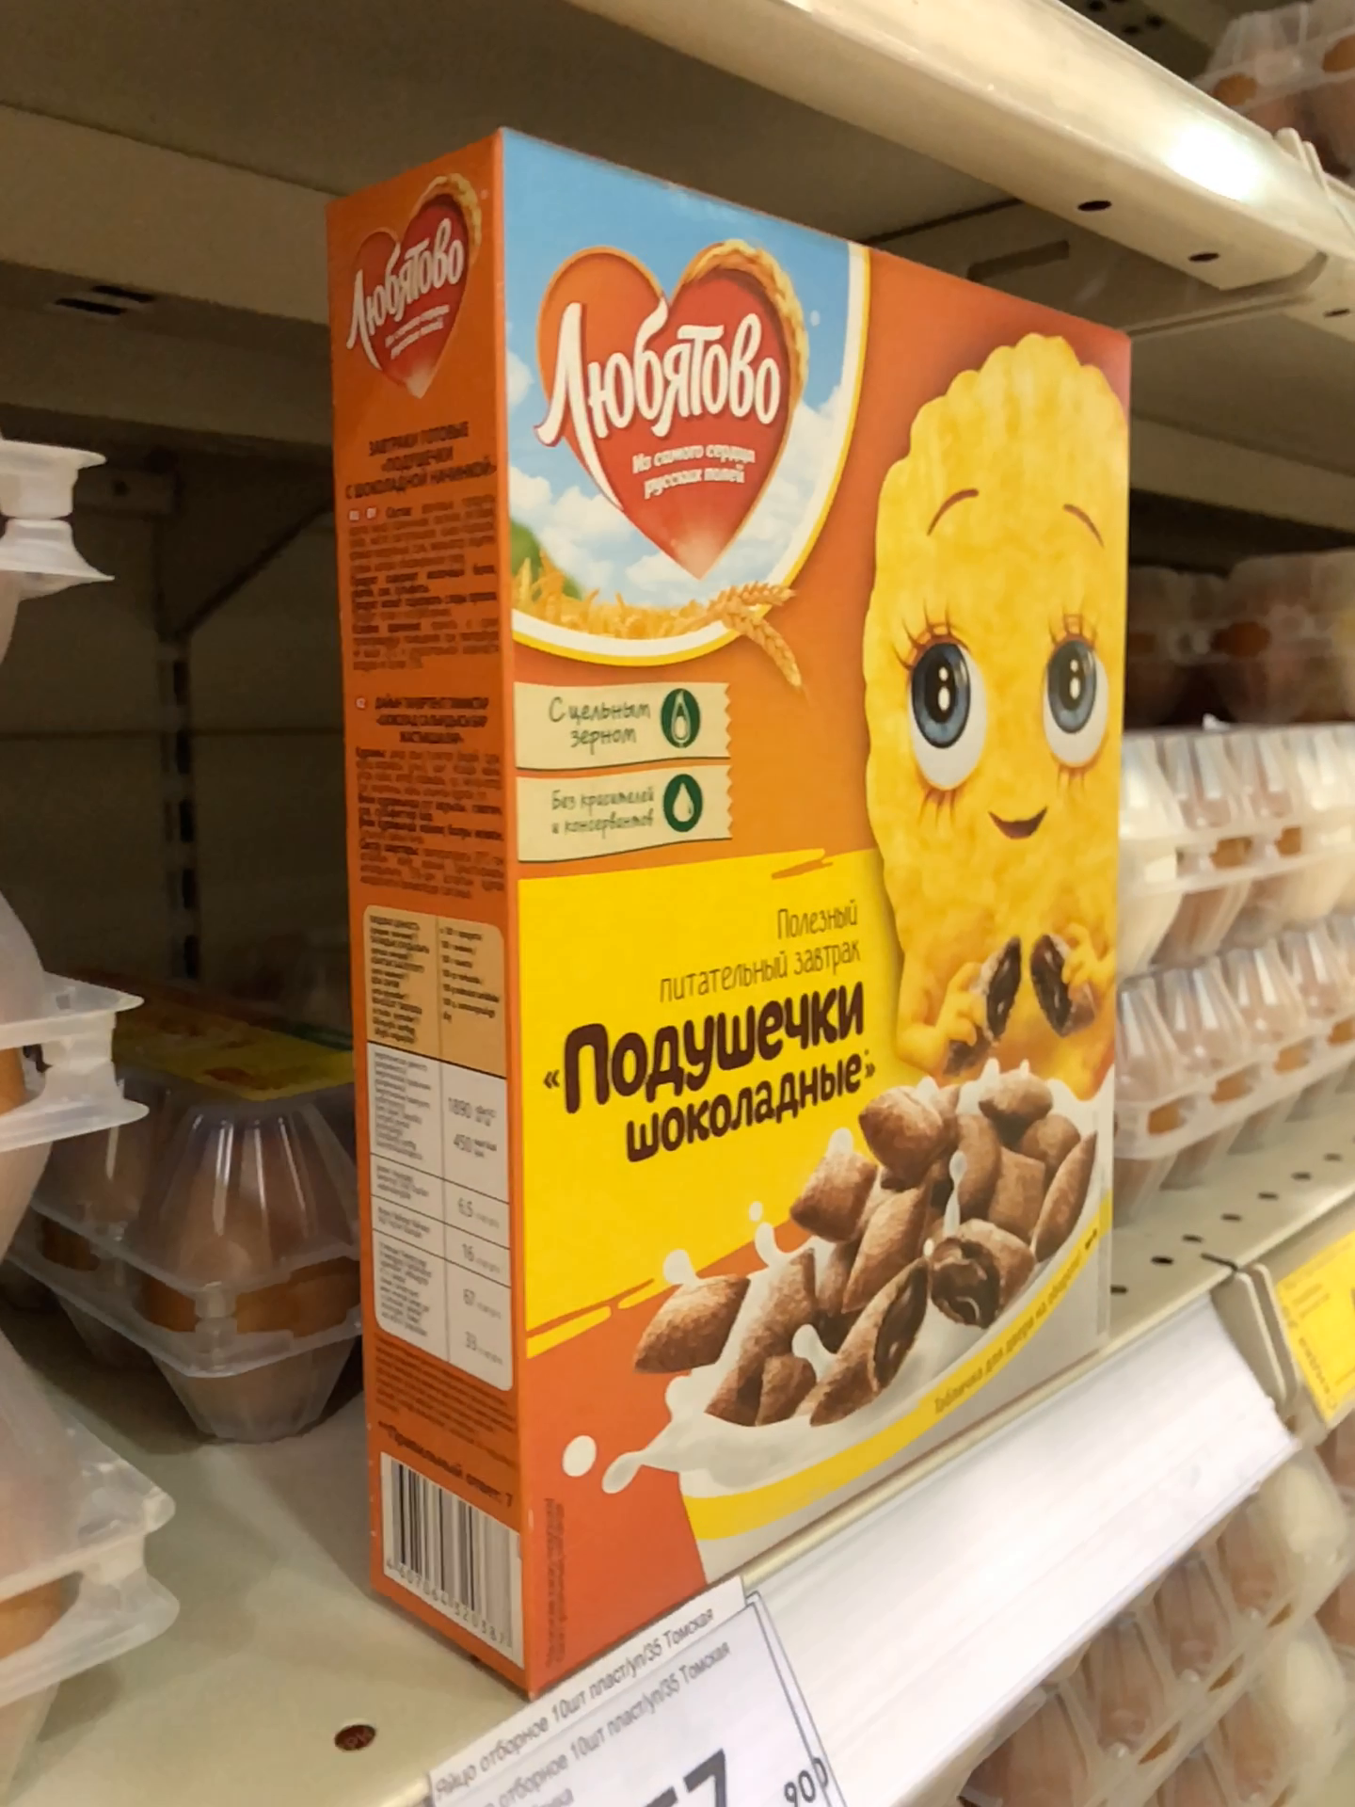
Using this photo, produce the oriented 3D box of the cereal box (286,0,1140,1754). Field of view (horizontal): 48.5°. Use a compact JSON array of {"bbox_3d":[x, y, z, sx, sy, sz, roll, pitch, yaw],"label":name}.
[{"bbox_3d":[0.022,-0.008,0.280,0.040,0.240,0.180,5,9,44],"label":"cereal box"}]
